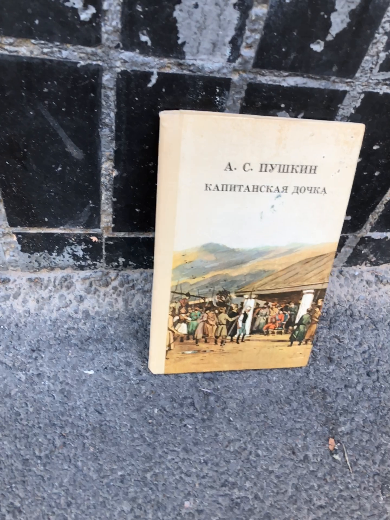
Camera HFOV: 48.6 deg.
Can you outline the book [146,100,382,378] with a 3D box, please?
[{"bbox_3d":[0.042,-0.002,0.334,0.145,0.215,0.023,1,28,-12],"label":"book"}]
